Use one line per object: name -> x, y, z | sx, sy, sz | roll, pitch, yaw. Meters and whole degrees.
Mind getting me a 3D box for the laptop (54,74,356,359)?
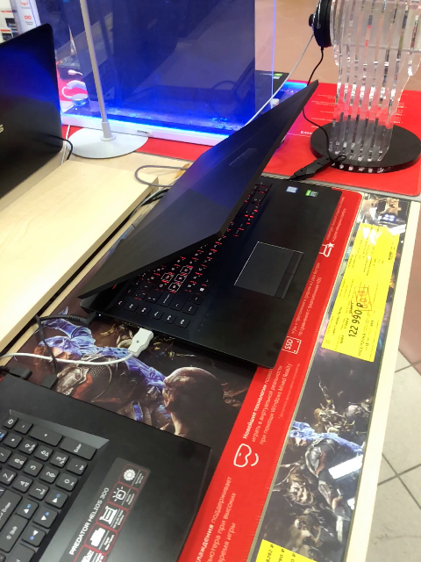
laptop -> 0.027, -0.127, 0.663 | 0.258, 0.166, 0.396 | 15, 46, 18
